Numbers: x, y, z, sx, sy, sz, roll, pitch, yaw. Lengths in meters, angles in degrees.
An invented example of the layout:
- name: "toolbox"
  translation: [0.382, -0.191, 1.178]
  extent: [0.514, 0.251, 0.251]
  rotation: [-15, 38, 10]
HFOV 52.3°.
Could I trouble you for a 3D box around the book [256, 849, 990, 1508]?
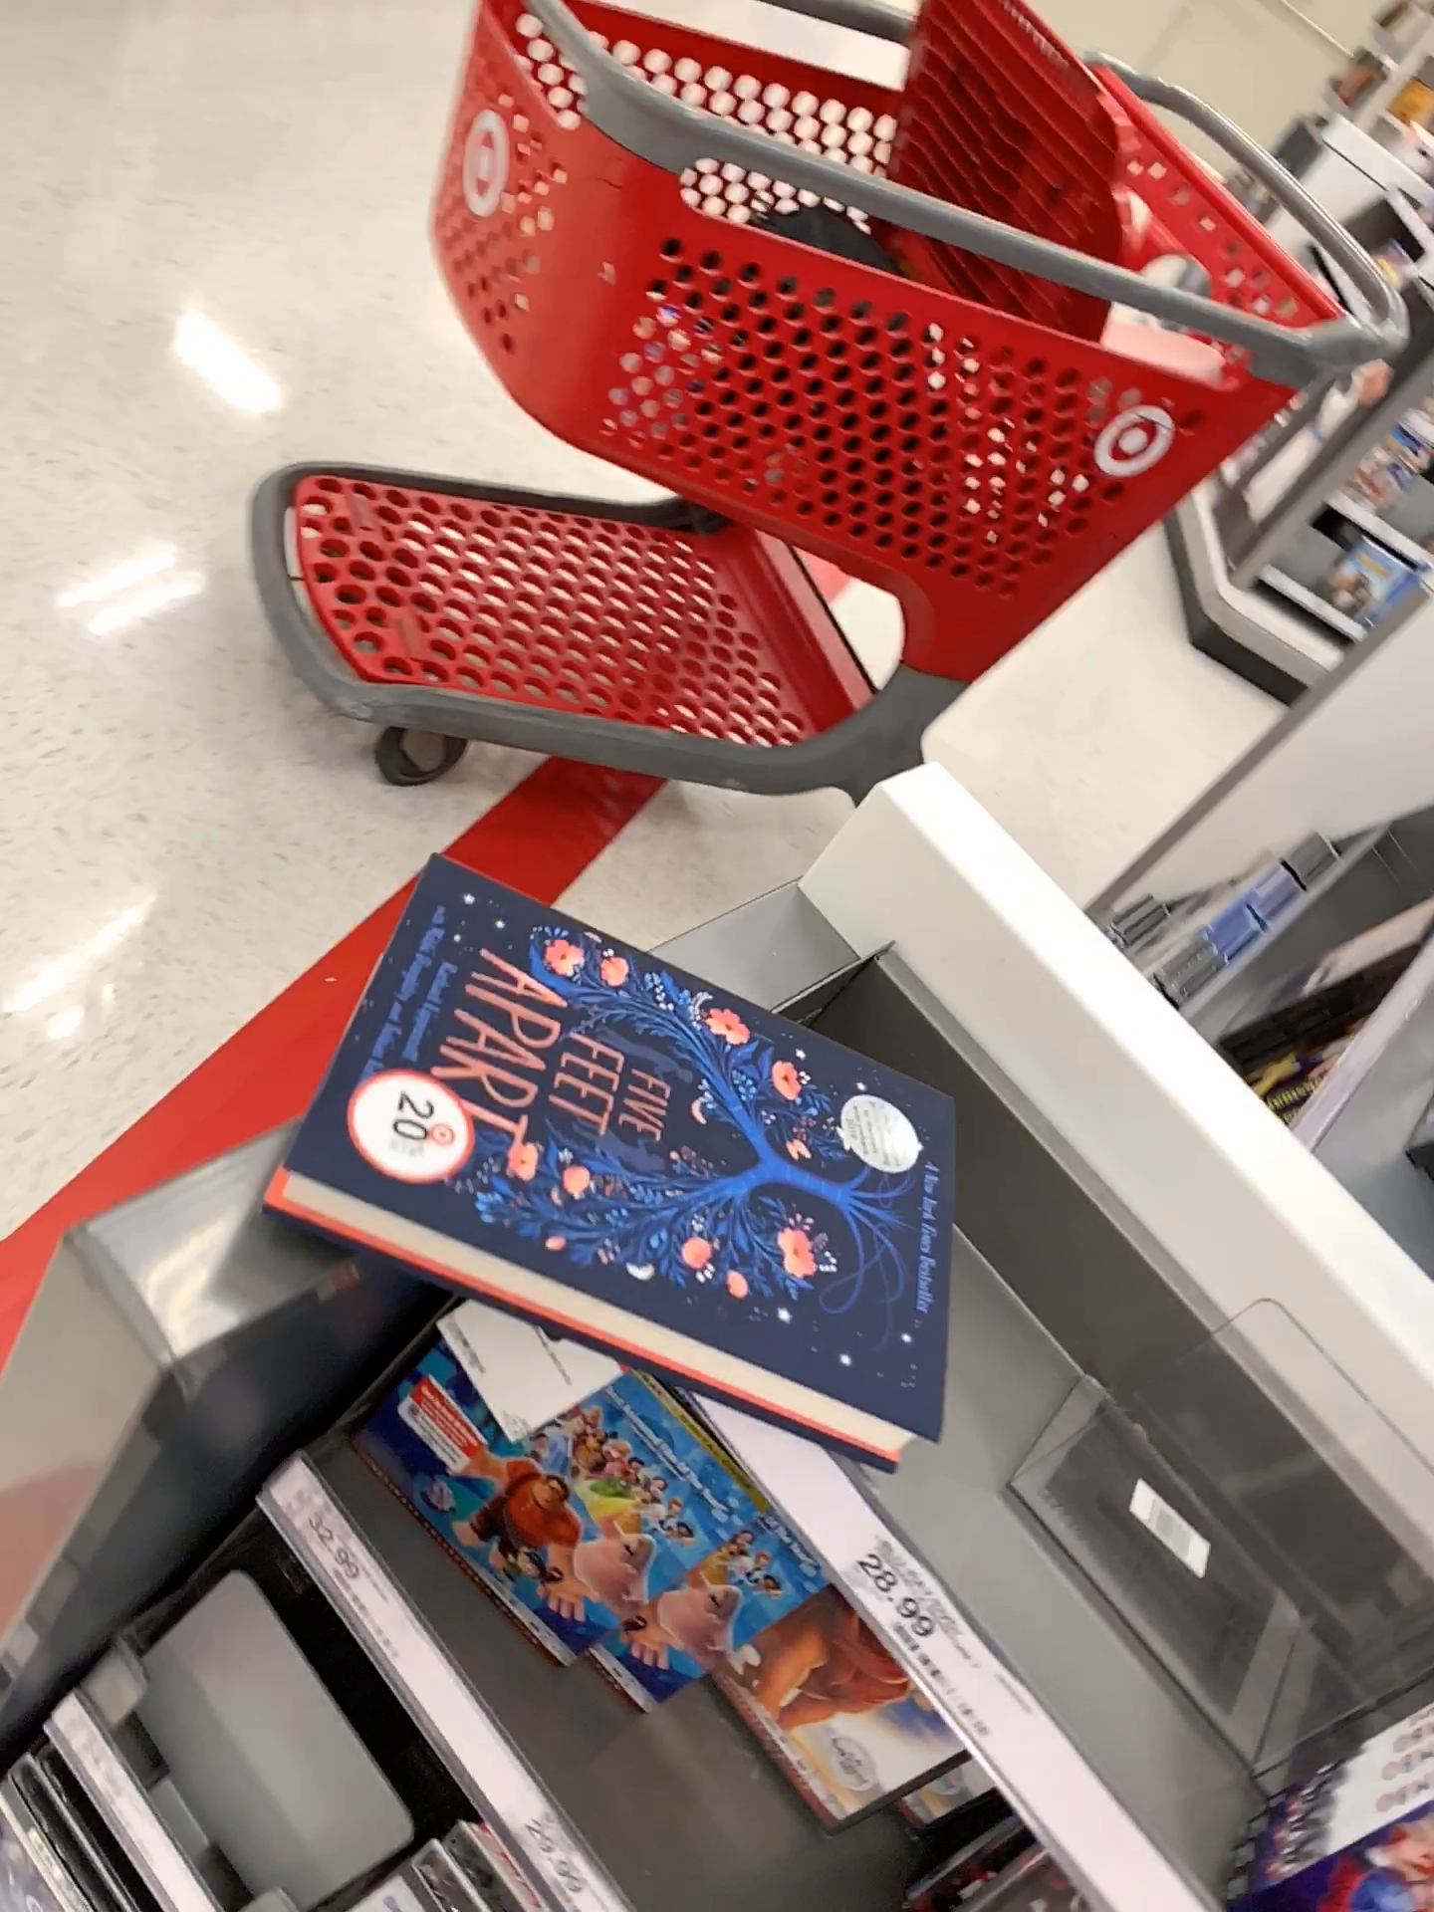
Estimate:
- name: "book"
  translation: [-0.013, 0.066, 0.474]
  extent: [0.220, 0.028, 0.151]
  rotation: [25, 40, -12]
